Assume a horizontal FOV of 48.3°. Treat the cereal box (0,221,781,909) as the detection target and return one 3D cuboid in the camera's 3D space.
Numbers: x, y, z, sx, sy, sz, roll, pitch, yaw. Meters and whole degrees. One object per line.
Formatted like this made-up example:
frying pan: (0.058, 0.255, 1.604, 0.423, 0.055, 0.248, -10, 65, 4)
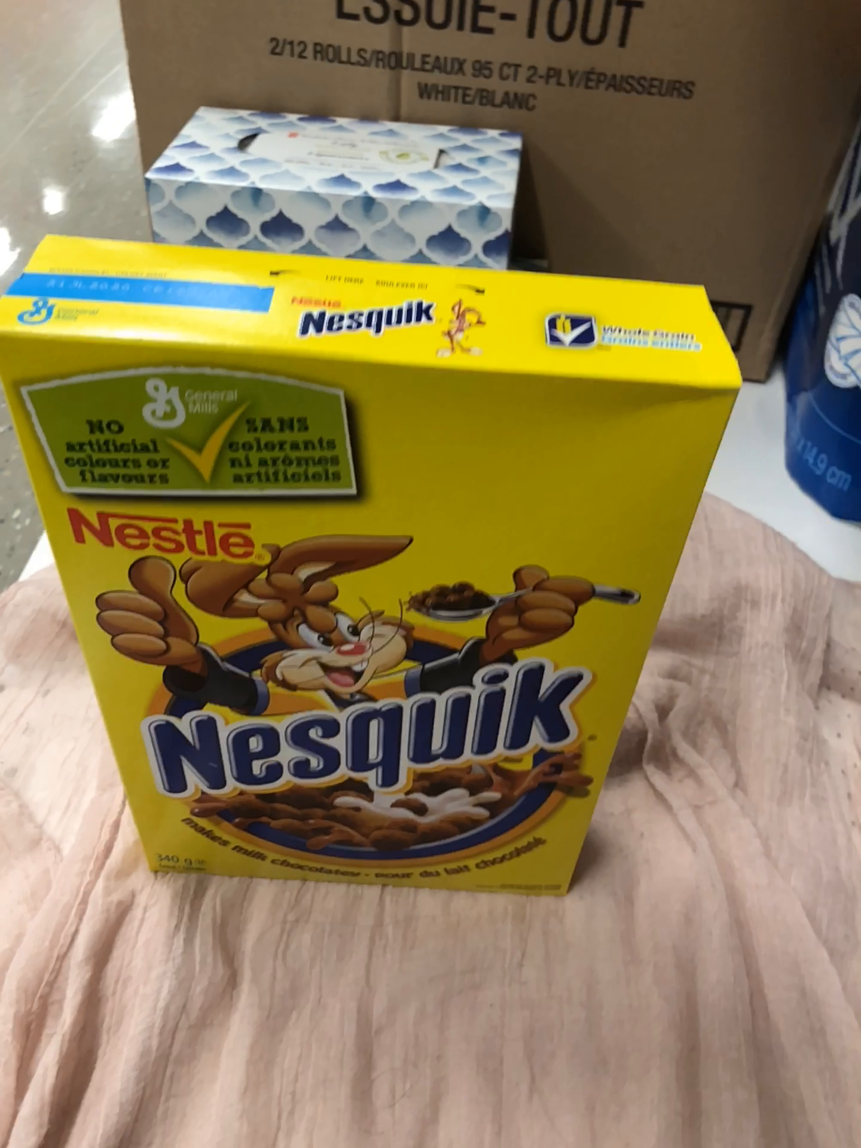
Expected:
cereal box: (-0.025, 0.023, 0.334, 0.200, 0.259, 0.060, 4, 46, 0)
